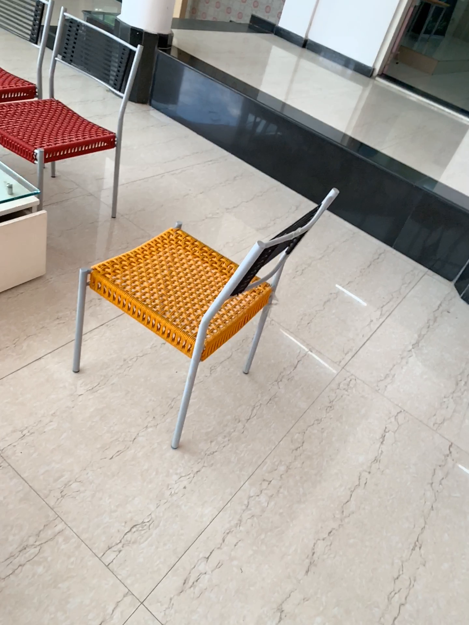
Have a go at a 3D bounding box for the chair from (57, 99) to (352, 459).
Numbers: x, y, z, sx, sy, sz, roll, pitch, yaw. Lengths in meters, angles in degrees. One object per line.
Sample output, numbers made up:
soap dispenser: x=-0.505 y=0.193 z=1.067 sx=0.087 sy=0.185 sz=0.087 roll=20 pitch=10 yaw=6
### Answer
chair: x=-0.131 y=-0.111 z=1.443 sx=0.511 sy=0.803 sz=0.523 roll=33 pitch=40 yaw=18
